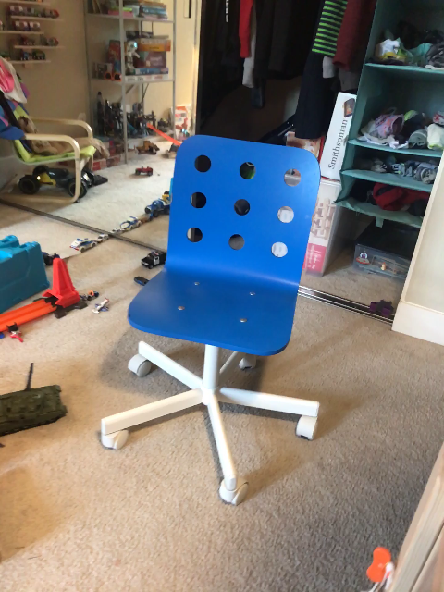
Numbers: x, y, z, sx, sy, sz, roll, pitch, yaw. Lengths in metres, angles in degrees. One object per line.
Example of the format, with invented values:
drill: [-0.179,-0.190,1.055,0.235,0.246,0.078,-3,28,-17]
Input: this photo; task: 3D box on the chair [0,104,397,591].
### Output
chair: [-0.043,0.057,1.148,0.620,0.814,0.675,12,29,8]
